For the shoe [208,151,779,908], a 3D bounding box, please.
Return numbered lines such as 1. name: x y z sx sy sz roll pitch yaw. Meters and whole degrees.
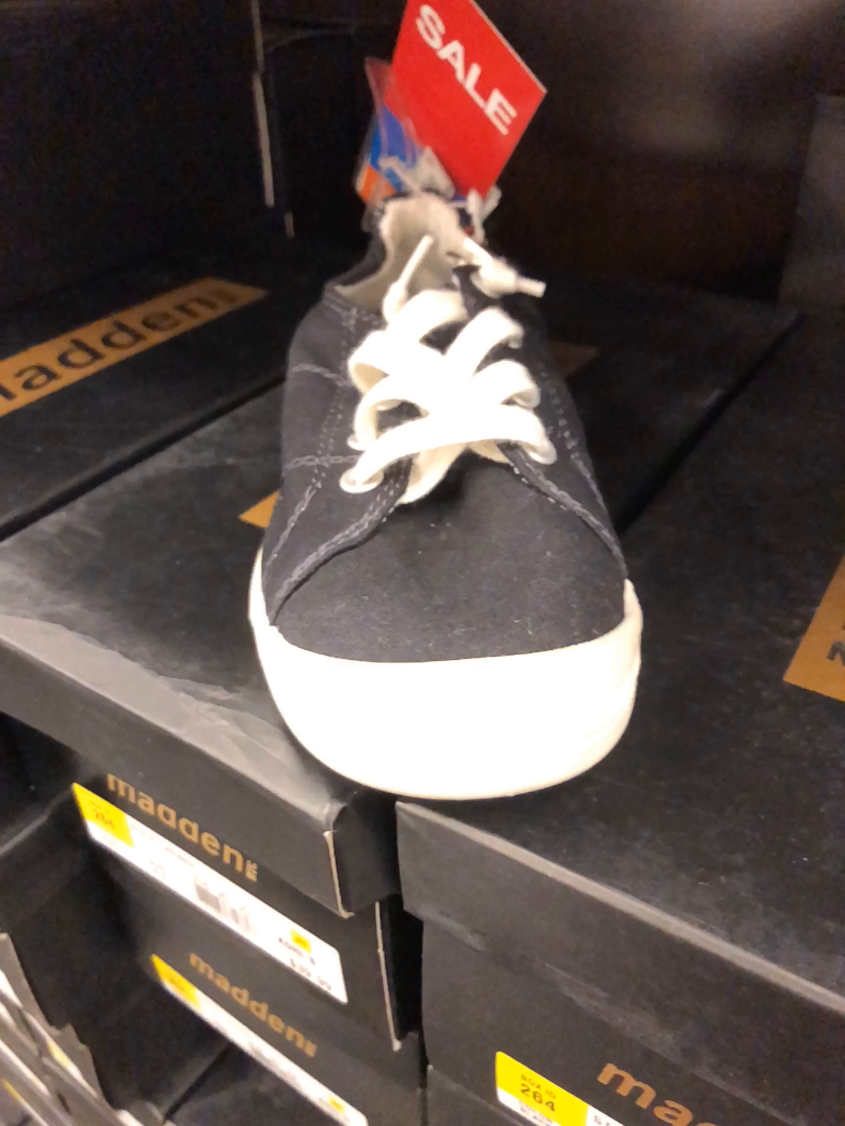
1. shoe: -0.001 -0.039 0.252 0.080 0.082 0.235 -4 35 -4
